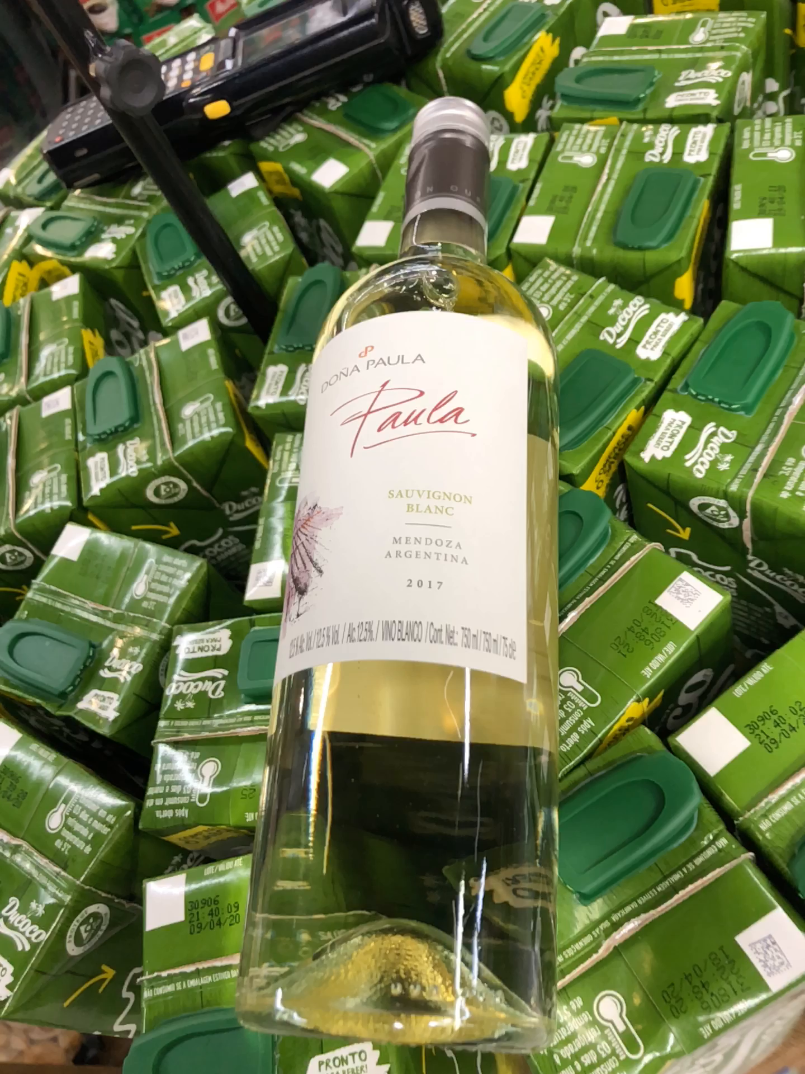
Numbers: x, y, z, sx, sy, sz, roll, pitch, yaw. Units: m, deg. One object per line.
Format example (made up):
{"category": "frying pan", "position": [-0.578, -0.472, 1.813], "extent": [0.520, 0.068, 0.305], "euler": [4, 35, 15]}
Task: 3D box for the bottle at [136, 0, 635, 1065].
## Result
{"category": "bottle", "position": [0.014, -0.043, 0.262], "extent": [0.080, 0.070, 0.331], "euler": [-6, 57, 18]}
